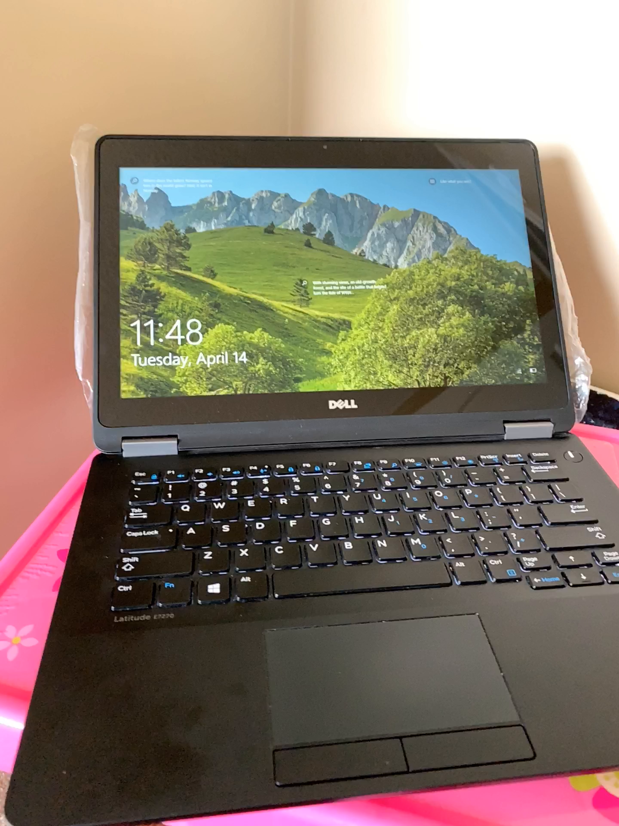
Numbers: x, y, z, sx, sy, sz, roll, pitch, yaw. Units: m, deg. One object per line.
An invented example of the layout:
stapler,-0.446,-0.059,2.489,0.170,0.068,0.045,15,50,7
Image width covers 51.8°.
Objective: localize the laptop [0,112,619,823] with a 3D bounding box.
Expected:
laptop,0.022,-0.027,0.290,0.261,0.121,0.303,-2,39,-8
